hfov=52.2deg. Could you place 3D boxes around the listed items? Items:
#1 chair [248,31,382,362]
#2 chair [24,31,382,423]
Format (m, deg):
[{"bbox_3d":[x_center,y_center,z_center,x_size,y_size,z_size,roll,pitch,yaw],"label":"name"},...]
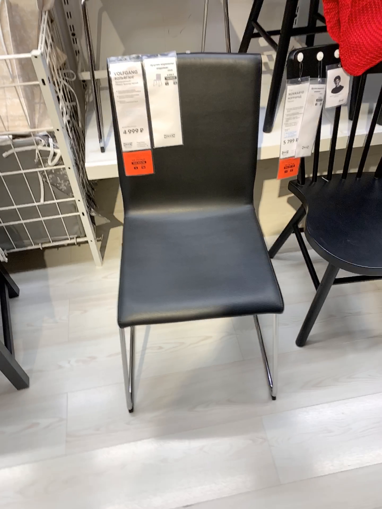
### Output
[{"bbox_3d":[0.529,-0.157,1.248,0.471,0.799,0.601,-8,48,-6],"label":"chair"},{"bbox_3d":[0.005,-0.027,1.085,0.531,0.869,0.611,-5,48,-4],"label":"chair"}]
